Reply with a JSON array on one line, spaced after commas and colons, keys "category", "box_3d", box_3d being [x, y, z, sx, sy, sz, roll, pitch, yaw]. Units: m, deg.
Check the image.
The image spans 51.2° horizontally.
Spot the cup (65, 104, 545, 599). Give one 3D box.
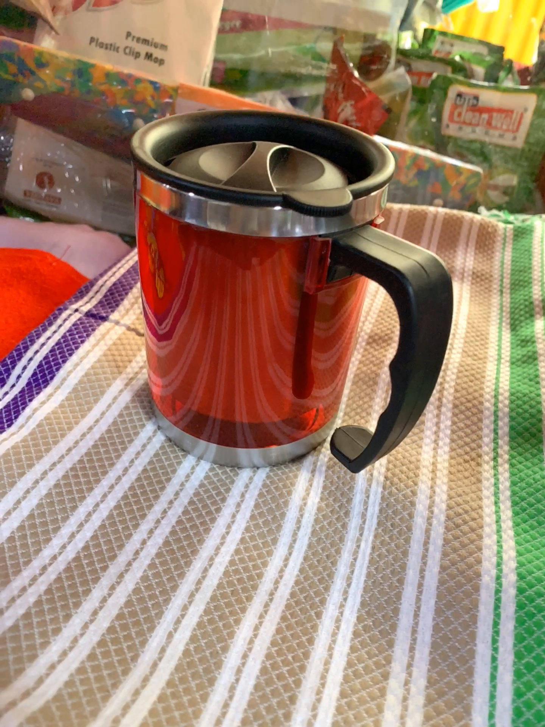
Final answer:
[{"category": "cup", "box_3d": [0.009, -0.019, 0.207, 0.100, 0.102, 0.130, -26, 47, -36]}]
